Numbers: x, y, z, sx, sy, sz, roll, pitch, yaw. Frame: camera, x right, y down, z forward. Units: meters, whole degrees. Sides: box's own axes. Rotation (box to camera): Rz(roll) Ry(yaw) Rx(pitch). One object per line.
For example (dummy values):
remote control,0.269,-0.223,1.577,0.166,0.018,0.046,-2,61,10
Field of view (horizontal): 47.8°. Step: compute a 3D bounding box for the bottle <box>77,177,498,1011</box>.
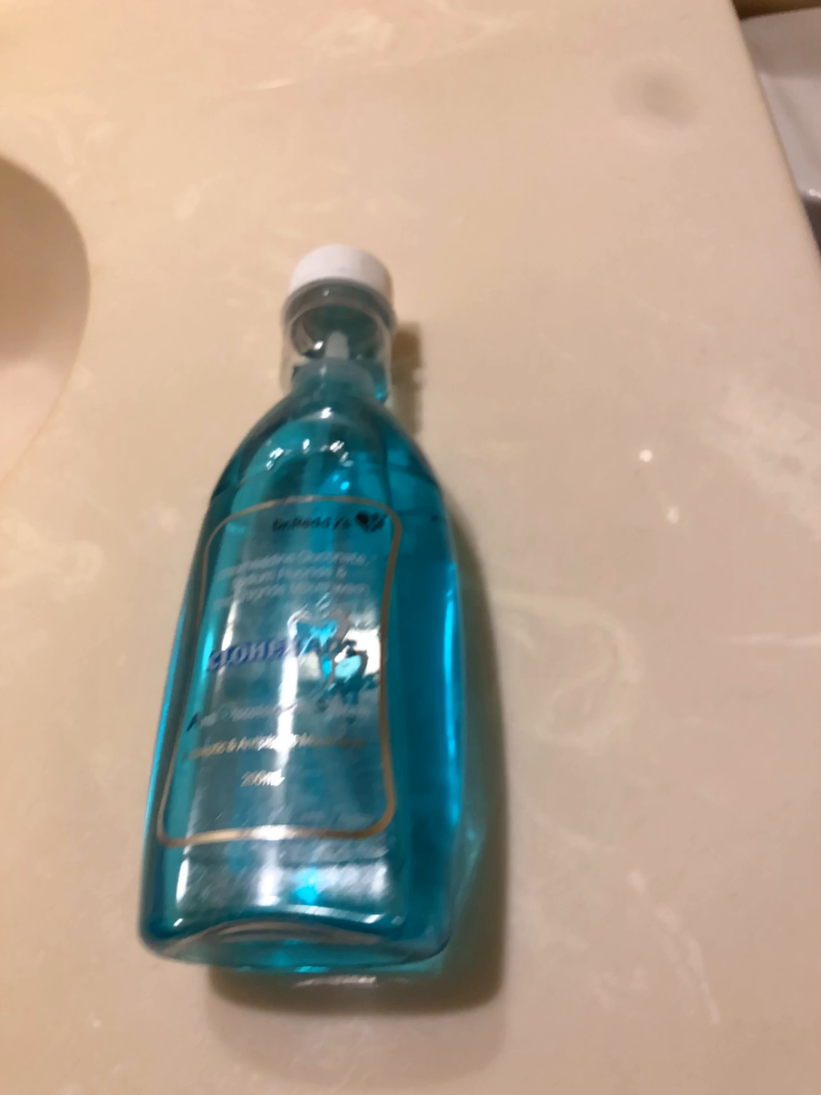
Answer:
bottle,-0.019,-0.004,0.230,0.070,0.040,0.210,-5,57,9
